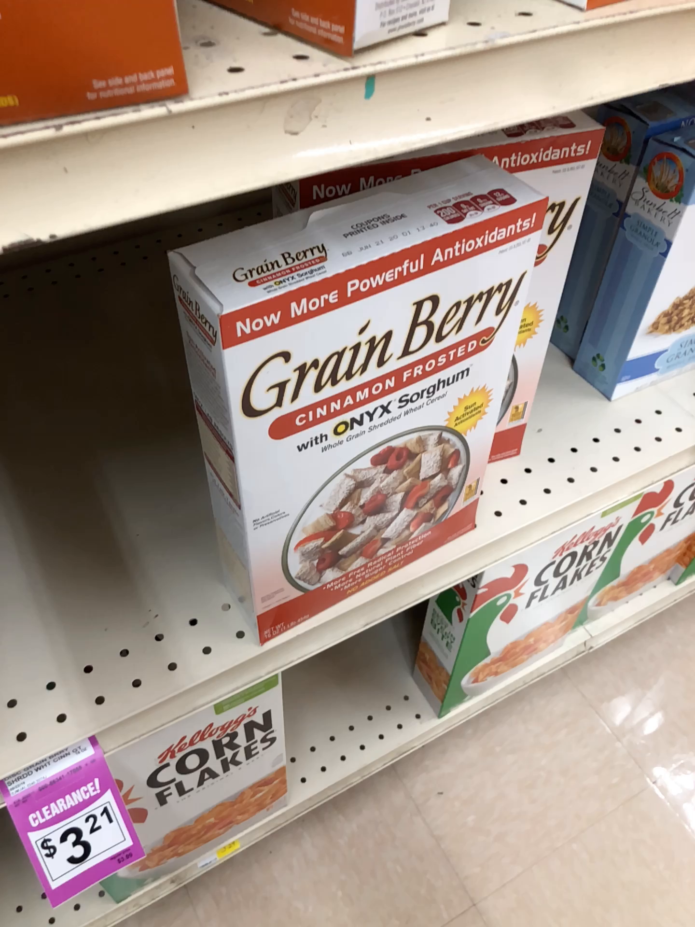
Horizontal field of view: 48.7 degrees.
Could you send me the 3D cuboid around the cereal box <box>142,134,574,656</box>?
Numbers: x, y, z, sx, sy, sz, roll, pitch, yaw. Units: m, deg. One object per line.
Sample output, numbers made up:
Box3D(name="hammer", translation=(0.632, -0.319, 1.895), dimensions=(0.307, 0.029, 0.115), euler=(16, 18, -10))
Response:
Box3D(name="cereal box", translation=(0.006, -0.026, 0.467), dimensions=(0.200, 0.280, 0.070), euler=(-25, 54, -23))
